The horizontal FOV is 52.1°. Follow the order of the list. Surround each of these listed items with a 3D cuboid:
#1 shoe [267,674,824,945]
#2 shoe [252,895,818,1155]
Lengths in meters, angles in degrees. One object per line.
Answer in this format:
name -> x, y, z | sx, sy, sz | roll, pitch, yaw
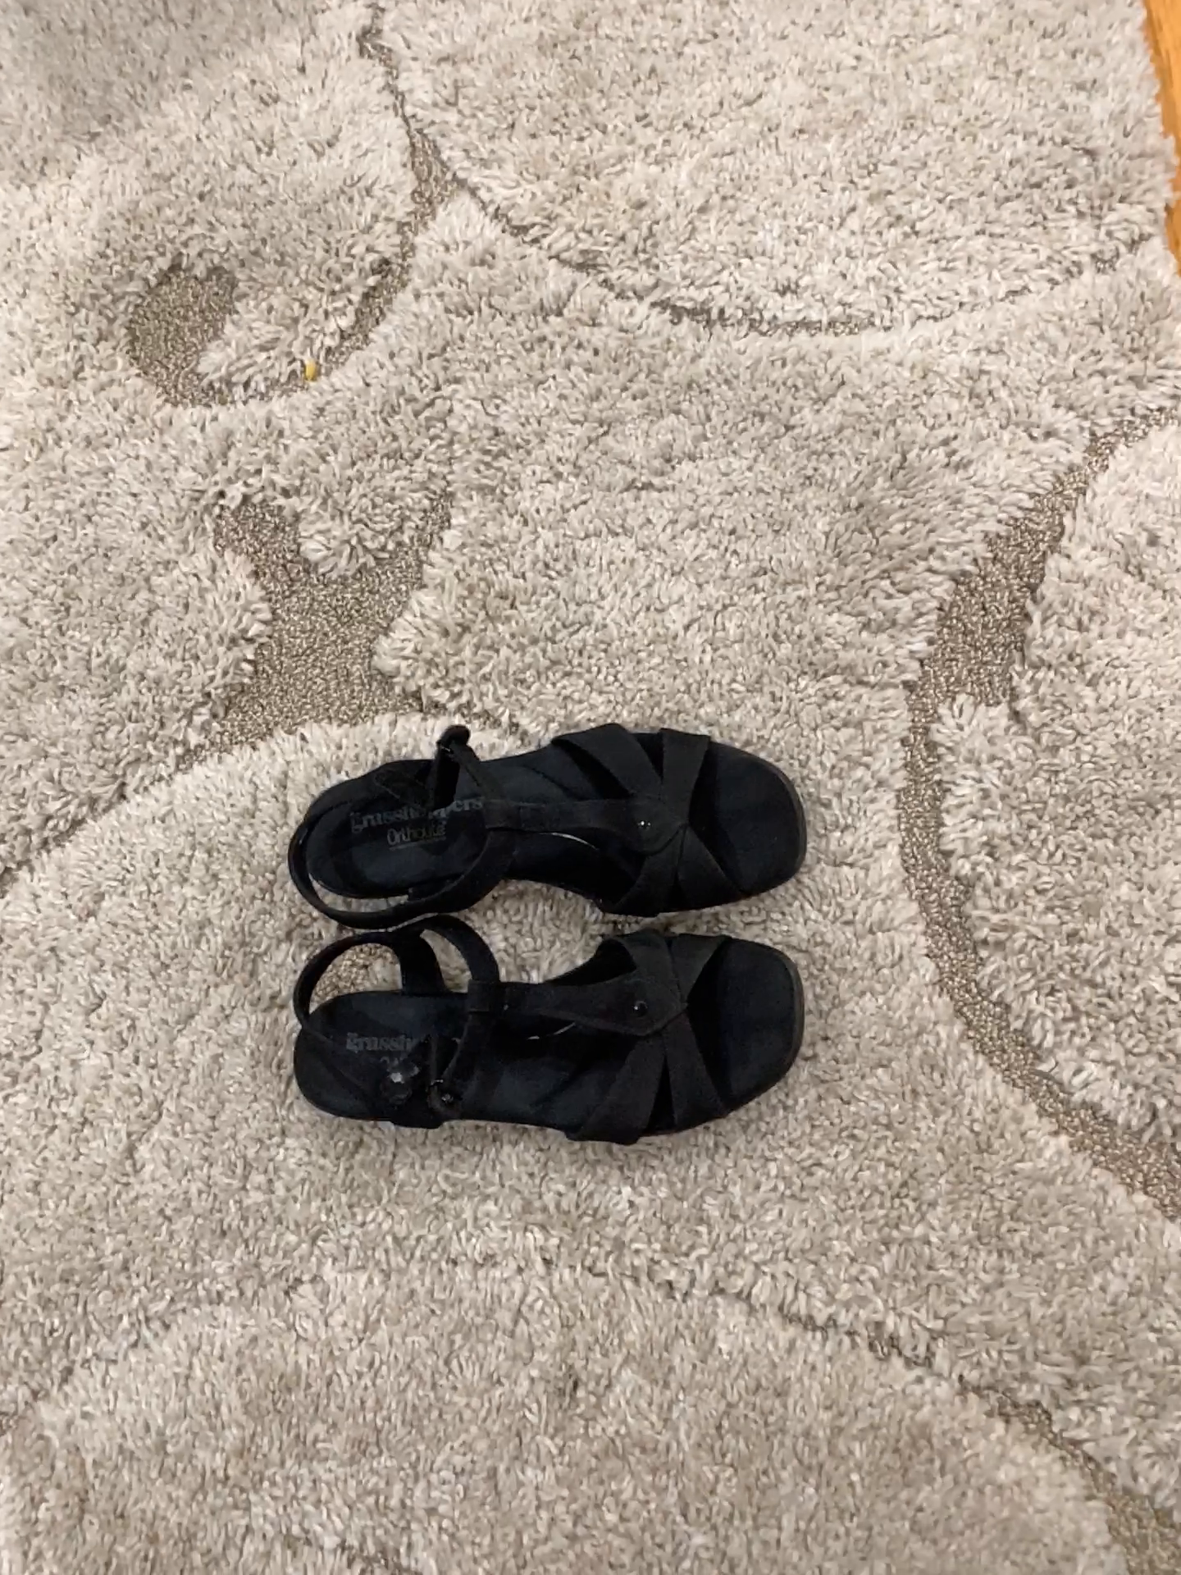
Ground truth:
shoe -> -0.020, 0.014, 0.552 | 0.241, 0.060, 0.100 | -4, 79, 9
shoe -> -0.025, 0.108, 0.544 | 0.241, 0.060, 0.100 | -4, 79, 9
